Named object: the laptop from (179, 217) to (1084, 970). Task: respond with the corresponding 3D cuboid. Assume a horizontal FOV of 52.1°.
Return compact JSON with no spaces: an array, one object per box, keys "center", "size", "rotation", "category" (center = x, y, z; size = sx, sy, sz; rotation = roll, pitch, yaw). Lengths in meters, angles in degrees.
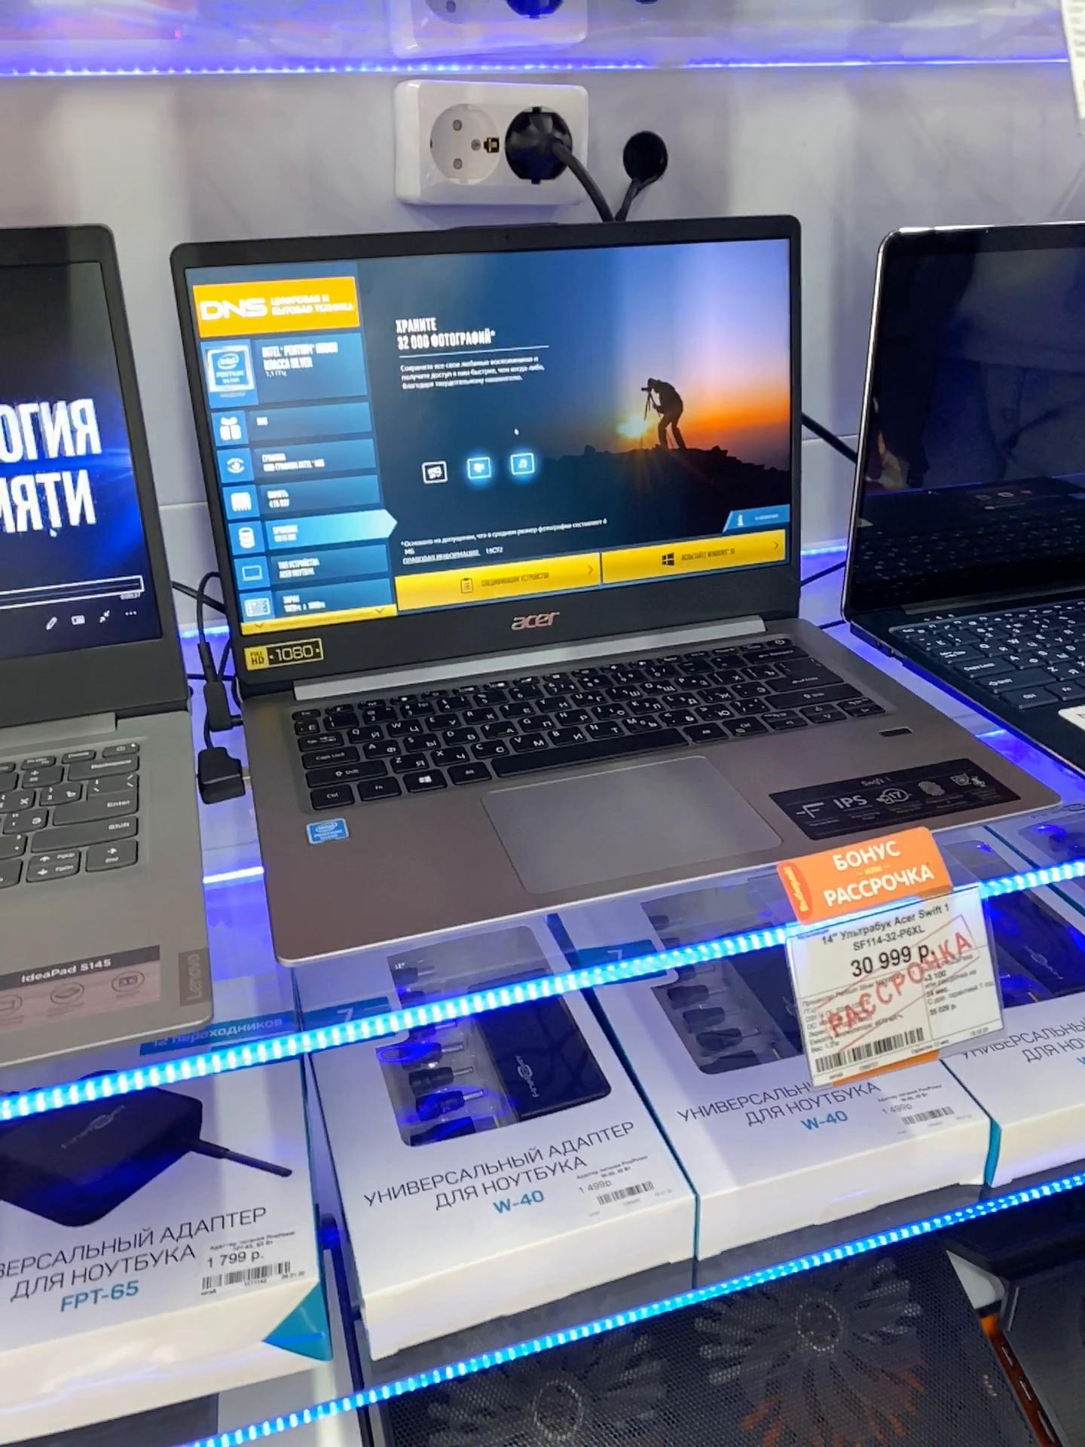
[{"center":[0.027,-0.091,0.477],"size":[0.319,0.206,0.258],"rotation":[-9,28,-15],"category":"laptop"}]
